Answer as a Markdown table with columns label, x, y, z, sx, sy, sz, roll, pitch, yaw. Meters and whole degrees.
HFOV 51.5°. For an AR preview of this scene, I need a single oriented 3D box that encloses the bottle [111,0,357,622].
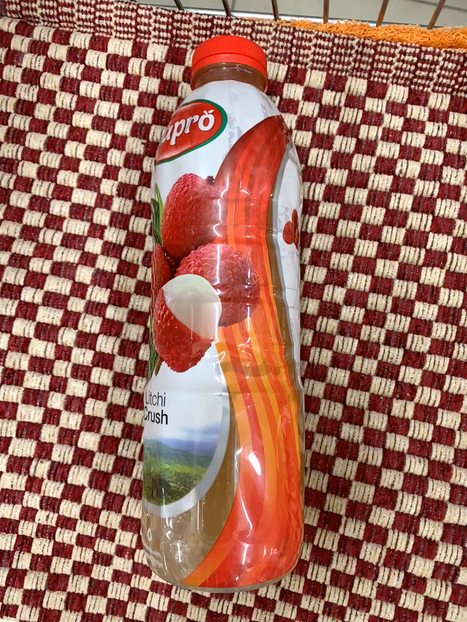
| label | x | y | z | sx | sy | sz | roll | pitch | yaw |
| --- | --- | --- | --- | --- | --- | --- | --- | --- | --- |
| bottle | 0.000 | -0.006 | 0.221 | 0.080 | 0.070 | 0.240 | 3 | 88 | -36 |
